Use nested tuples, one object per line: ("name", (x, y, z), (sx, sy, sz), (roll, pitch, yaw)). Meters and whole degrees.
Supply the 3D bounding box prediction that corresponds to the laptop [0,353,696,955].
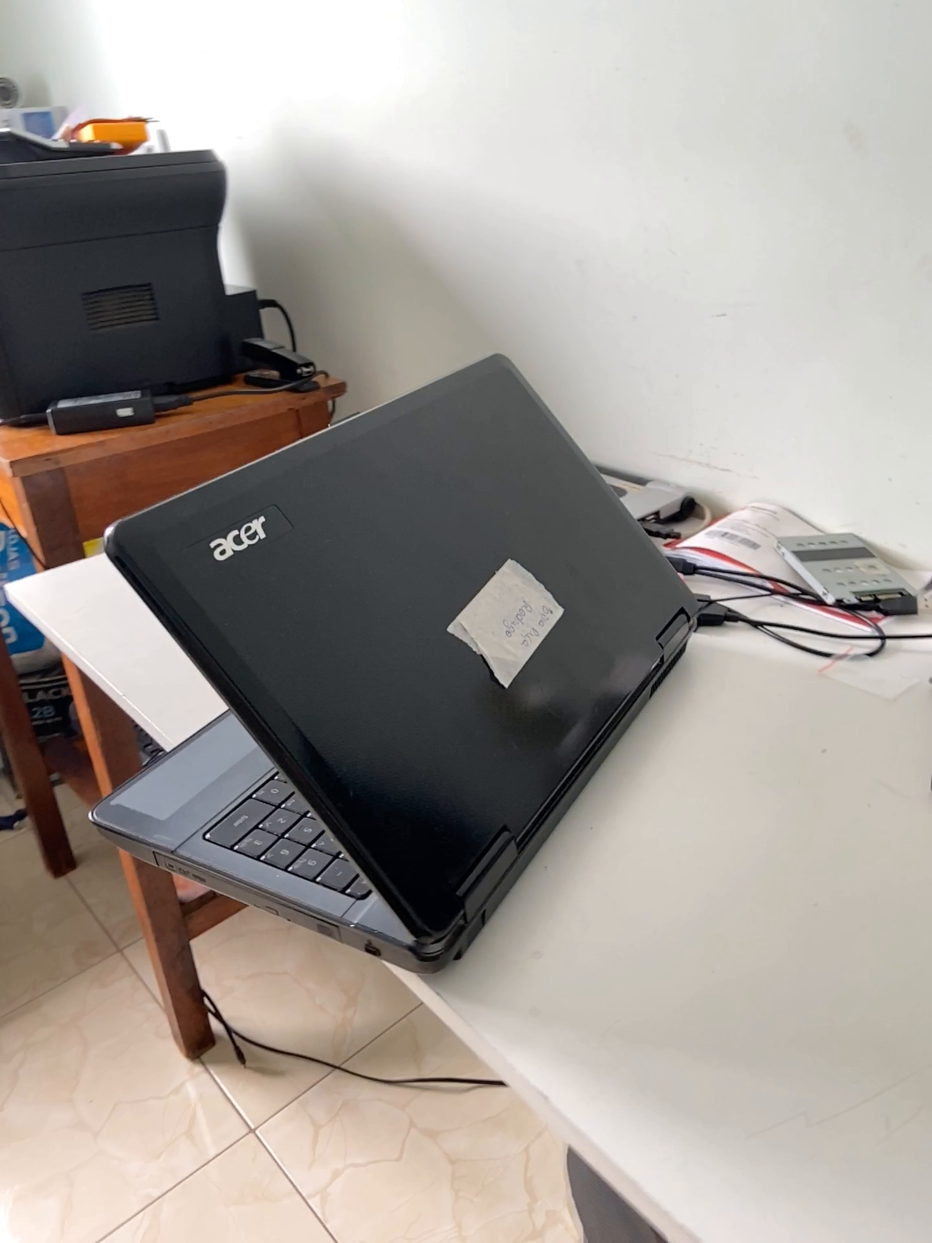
("laptop", (-0.033, -0.028, 0.595), (0.233, 0.183, 0.368), (11, 32, 29))
